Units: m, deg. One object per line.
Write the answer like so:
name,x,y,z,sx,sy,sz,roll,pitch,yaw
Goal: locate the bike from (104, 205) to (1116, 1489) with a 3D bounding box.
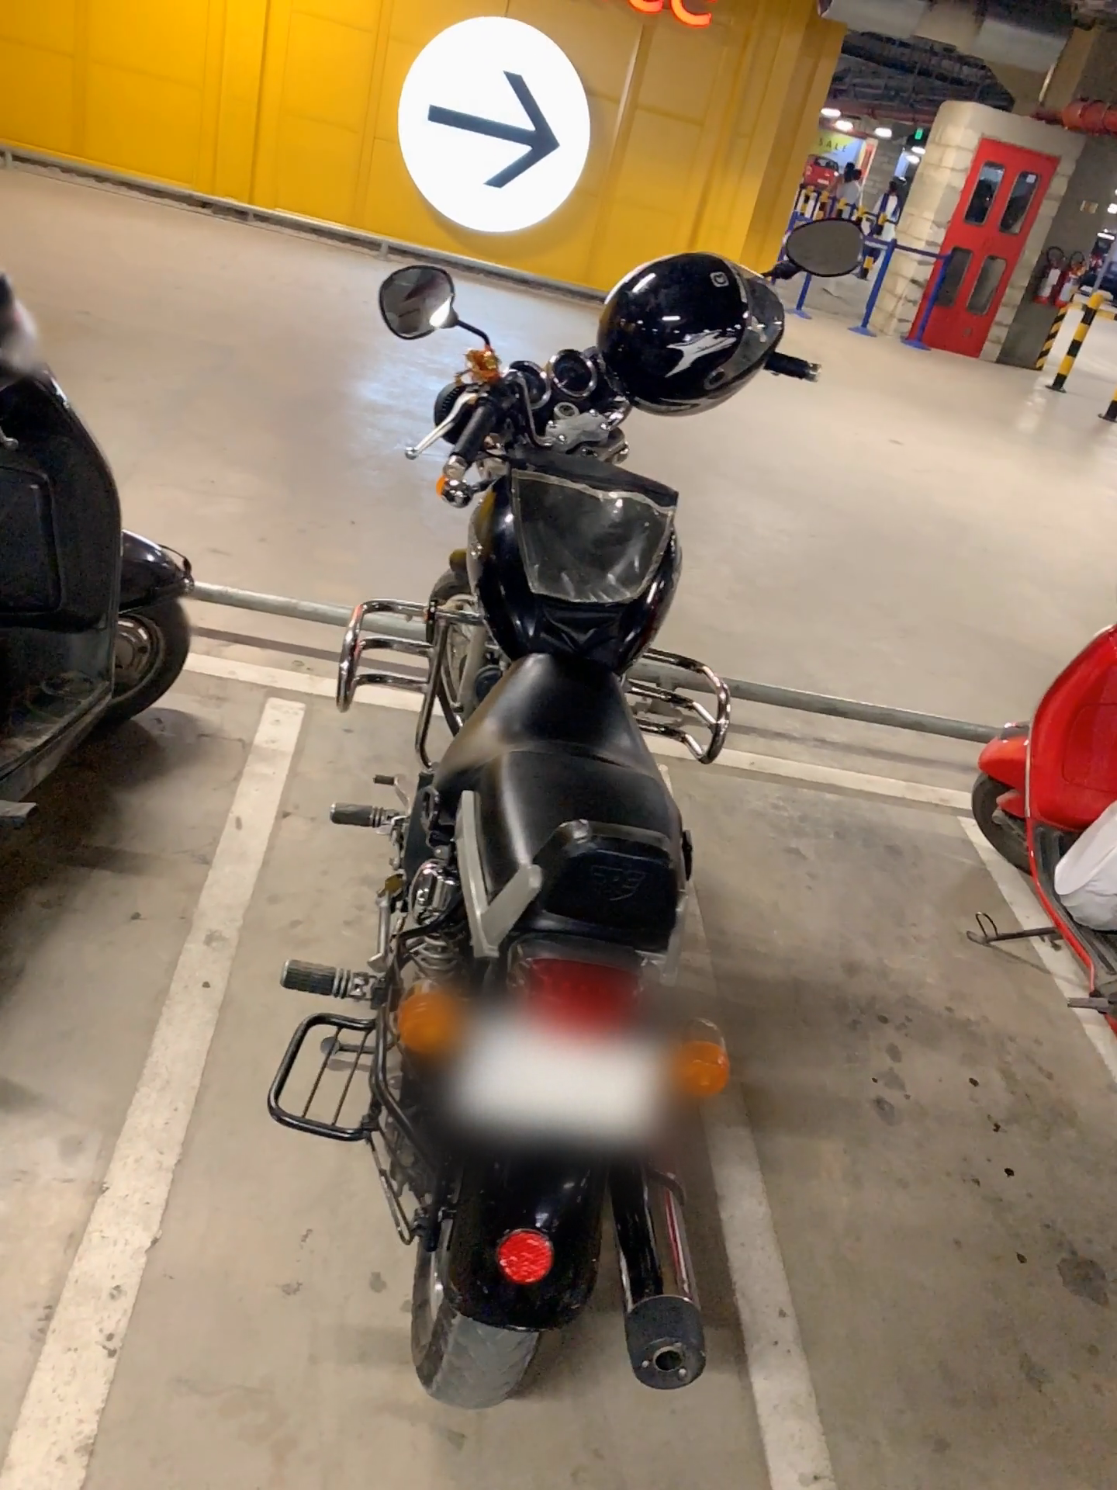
bike,-0.129,-0.098,2.044,0.829,1.228,2.086,8,29,-12
